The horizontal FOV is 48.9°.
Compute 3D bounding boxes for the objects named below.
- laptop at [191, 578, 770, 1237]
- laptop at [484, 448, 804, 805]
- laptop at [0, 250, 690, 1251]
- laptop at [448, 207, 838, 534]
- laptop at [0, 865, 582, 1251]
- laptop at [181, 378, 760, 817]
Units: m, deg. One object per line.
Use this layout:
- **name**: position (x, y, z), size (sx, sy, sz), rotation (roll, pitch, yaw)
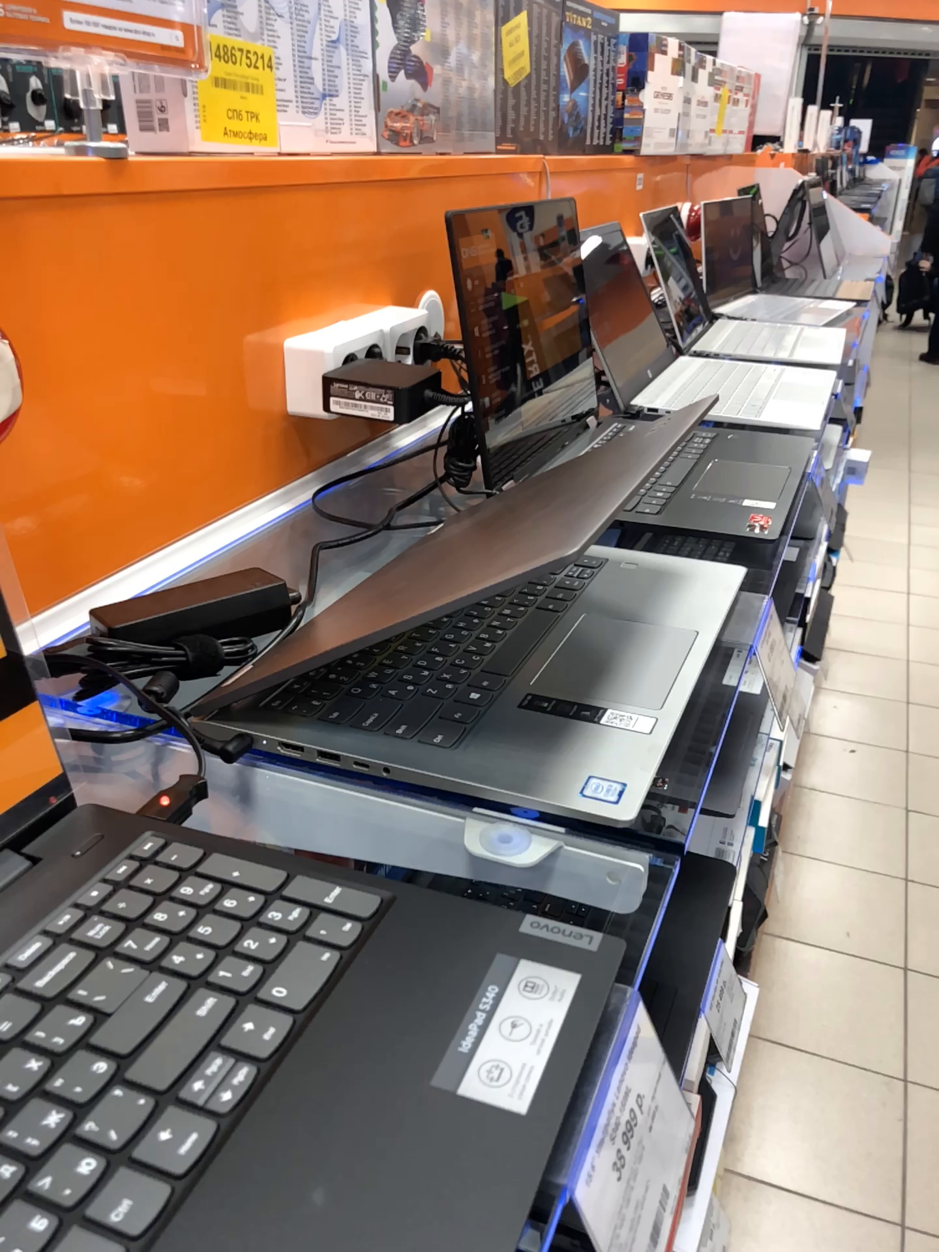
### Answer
- **laptop**: position (0.036, 0.150, 0.724), size (0.259, 0.223, 0.363), rotation (11, 26, 19)
- **laptop**: position (0.193, -0.020, 1.078), size (0.235, 0.228, 0.330), rotation (11, 26, 17)
- **laptop**: position (-0.128, 0.053, 0.212), size (0.276, 0.219, 0.330), rotation (9, 25, 18)
- **laptop**: position (0.163, -0.241, 0.891), size (0.246, 0.210, 0.329), rotation (9, 25, 17)
- **laptop**: position (-0.125, 0.307, 0.345), size (0.243, 0.222, 0.334), rotation (13, 26, 18)
- **laptop**: position (0.027, -0.047, 0.577), size (0.210, 0.110, 0.315), rotation (11, 26, 19)
